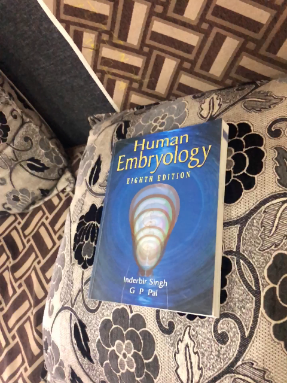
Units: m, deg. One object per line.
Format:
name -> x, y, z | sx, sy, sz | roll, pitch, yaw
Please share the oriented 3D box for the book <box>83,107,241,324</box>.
book -> 0.027, 0.025, 0.445 | 0.201, 0.030, 0.270 | -4, 67, 31
